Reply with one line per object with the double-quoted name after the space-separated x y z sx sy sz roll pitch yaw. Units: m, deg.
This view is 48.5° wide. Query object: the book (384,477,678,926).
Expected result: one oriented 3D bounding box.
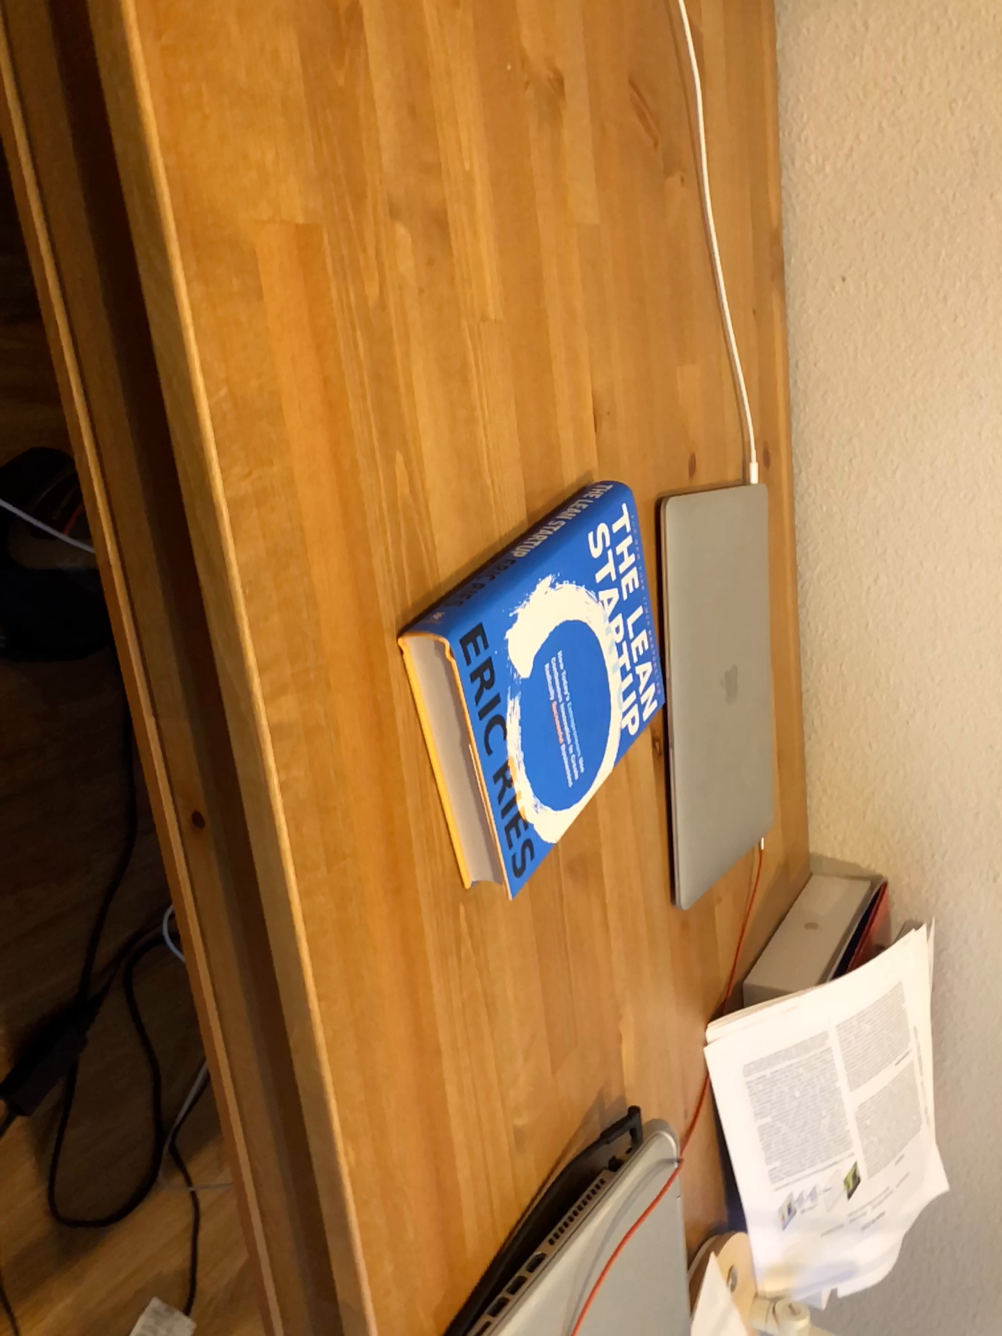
0.030 0.007 0.601 0.211 0.040 0.160 -44 128 -50 "book"
